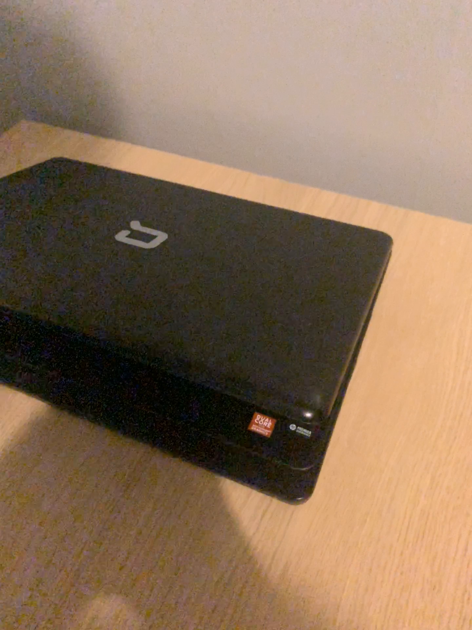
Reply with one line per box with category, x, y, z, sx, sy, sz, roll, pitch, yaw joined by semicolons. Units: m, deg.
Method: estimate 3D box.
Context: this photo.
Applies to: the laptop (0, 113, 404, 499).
laptop;-0.086;-0.041;0.399;0.374;0.064;0.224;17;60;18
